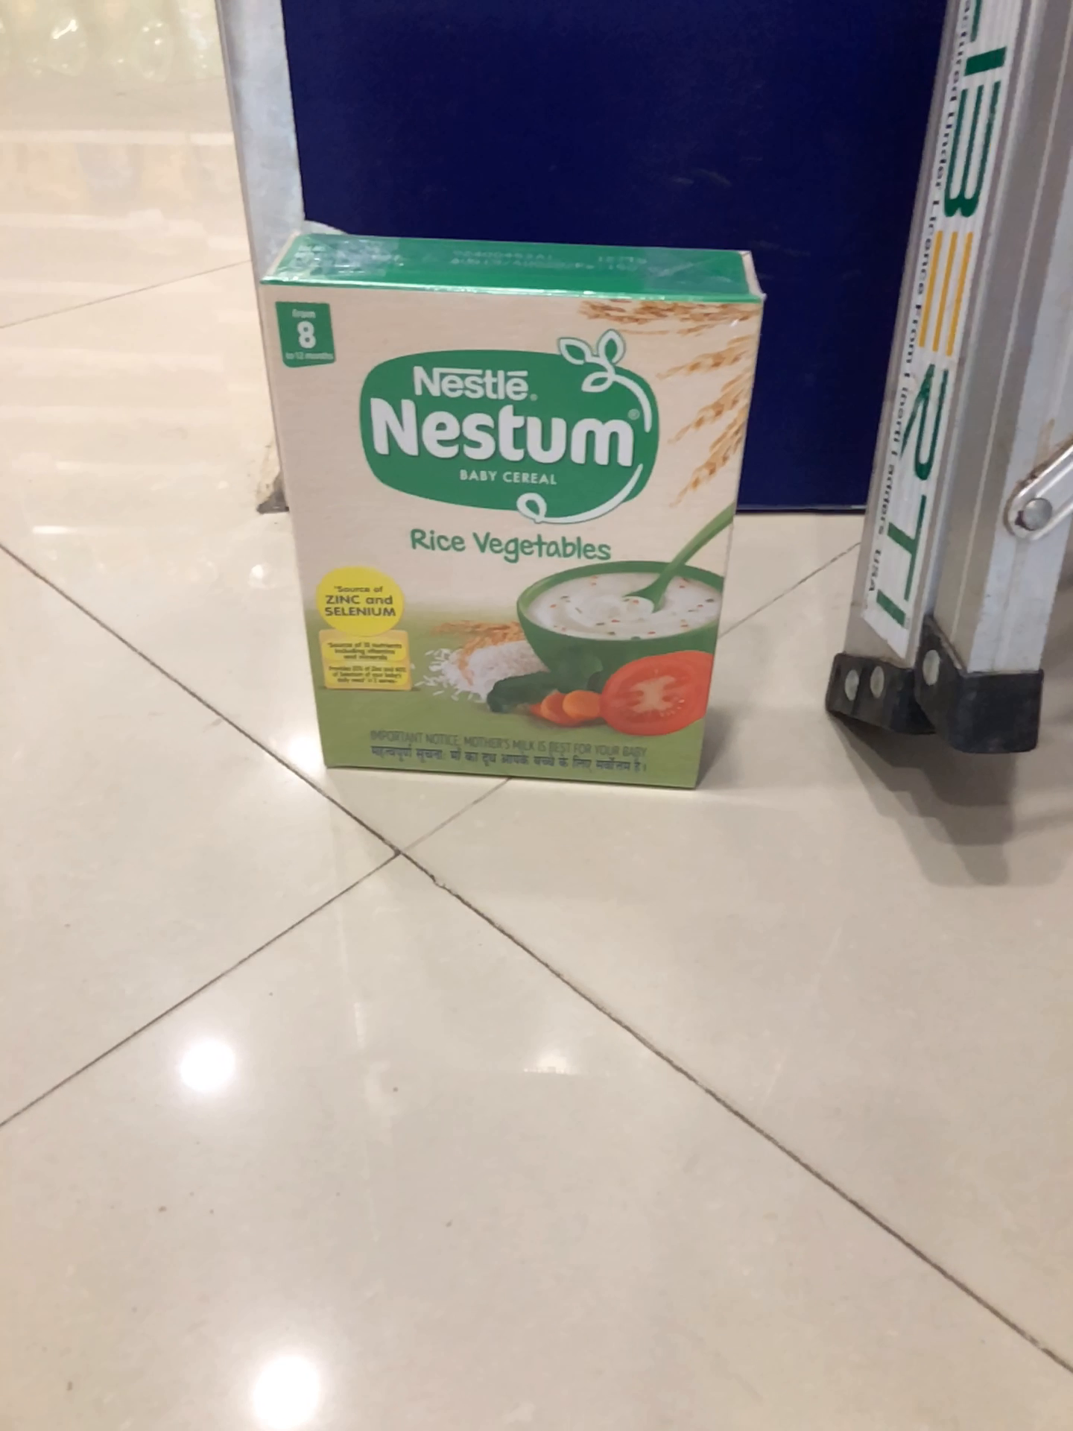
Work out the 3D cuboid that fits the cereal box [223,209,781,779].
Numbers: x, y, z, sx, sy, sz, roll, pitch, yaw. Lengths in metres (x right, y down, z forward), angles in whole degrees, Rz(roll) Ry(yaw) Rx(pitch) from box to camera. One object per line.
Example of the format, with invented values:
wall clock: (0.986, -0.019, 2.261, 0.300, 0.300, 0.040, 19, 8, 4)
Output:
cereal box: (-0.010, -0.069, 0.416, 0.160, 0.189, 0.050, 3, 39, 2)
